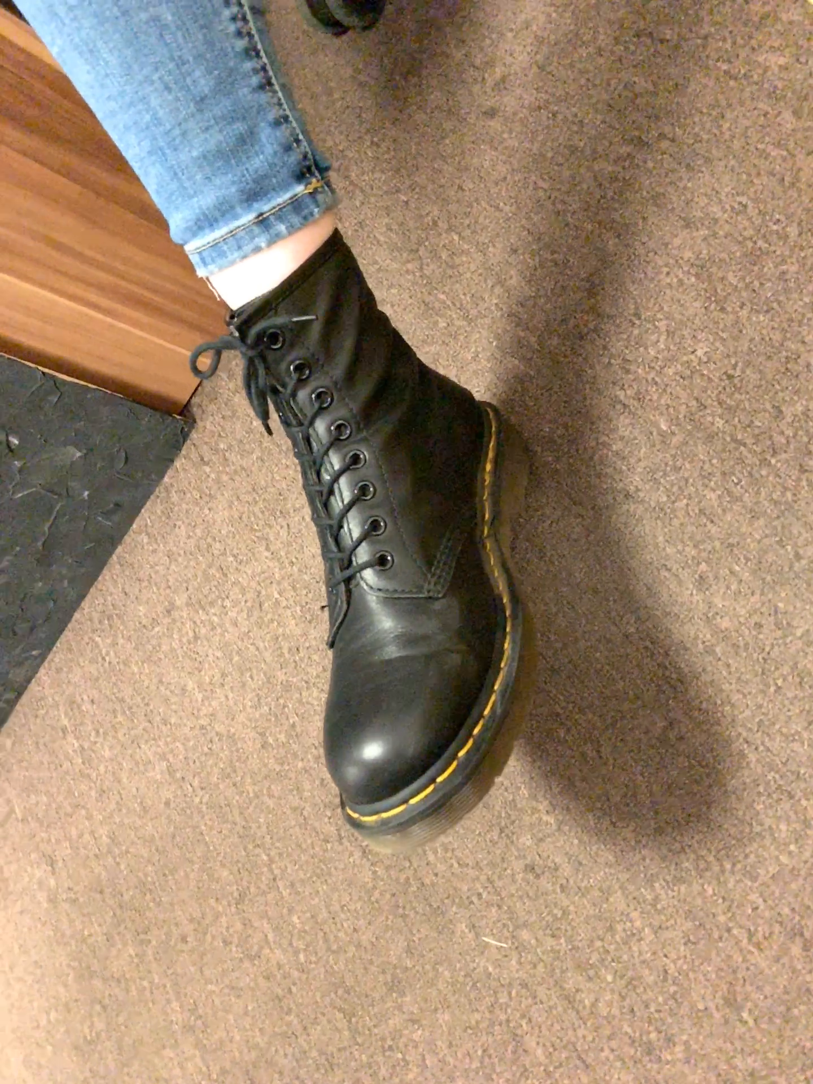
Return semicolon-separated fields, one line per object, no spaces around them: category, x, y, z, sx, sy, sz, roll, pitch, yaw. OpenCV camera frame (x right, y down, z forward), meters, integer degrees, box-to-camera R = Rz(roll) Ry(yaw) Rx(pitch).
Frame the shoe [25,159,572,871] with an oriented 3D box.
shoe;-0.019;-0.023;0.397;0.120;0.149;0.290;-23;37;34
